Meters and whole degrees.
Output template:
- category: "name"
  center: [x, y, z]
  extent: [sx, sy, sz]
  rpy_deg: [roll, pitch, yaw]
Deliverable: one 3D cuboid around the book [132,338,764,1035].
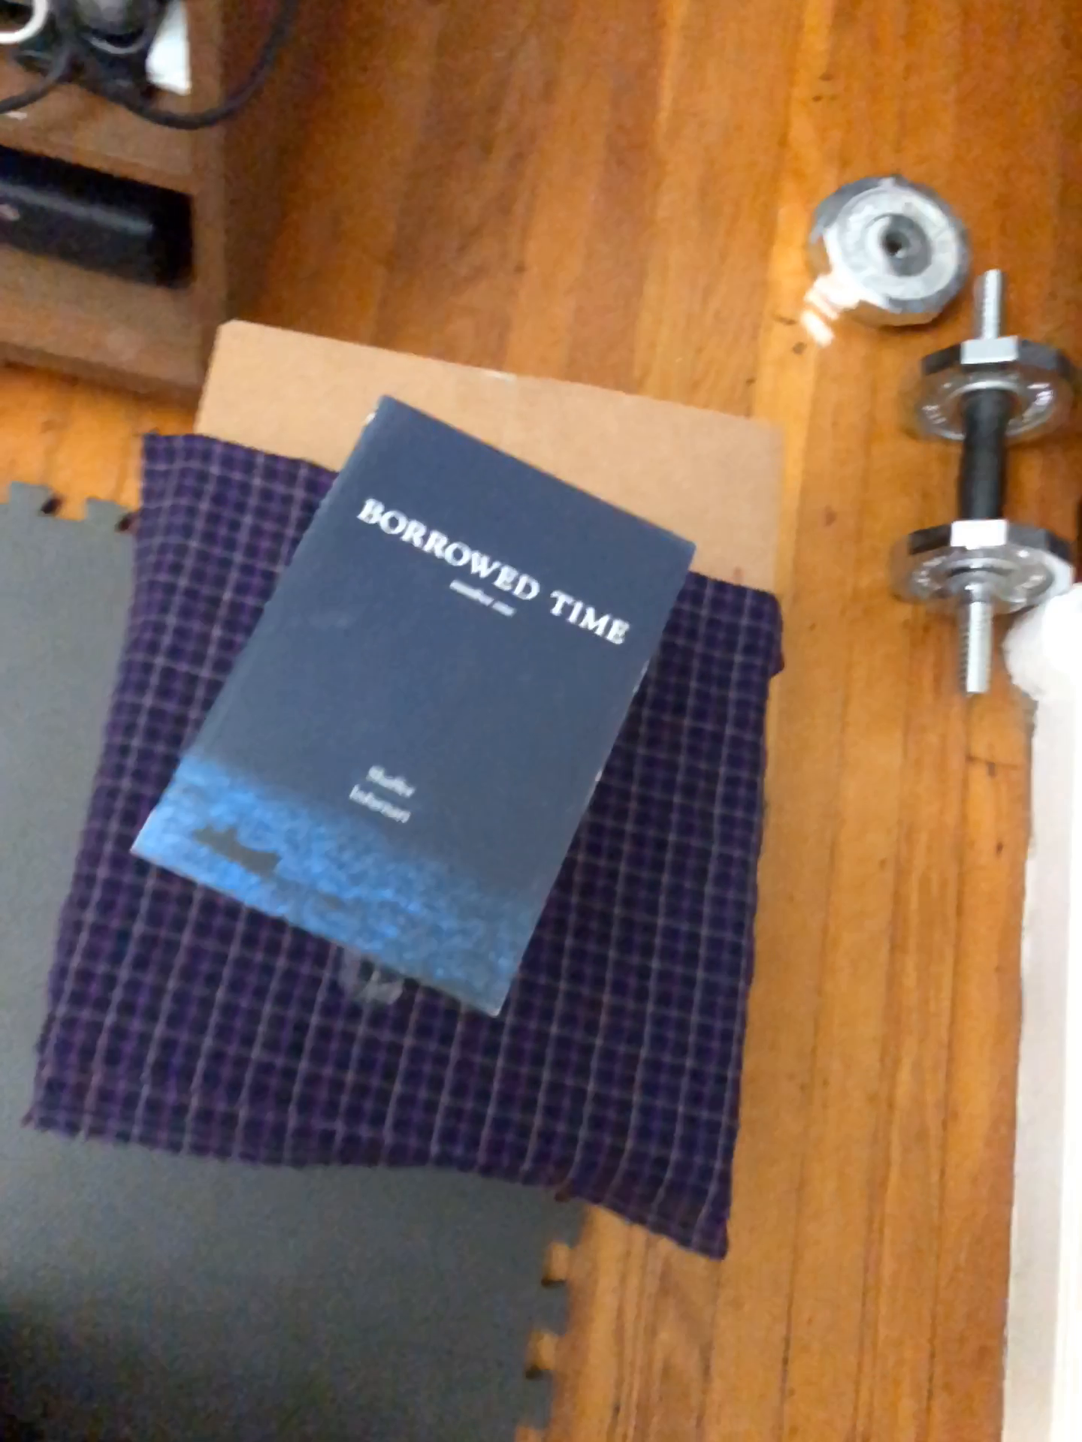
- category: "book"
  center: [-0.024, -0.022, 0.454]
  extent: [0.160, 0.010, 0.230]
  rpy_deg: [25, 70, -3]
